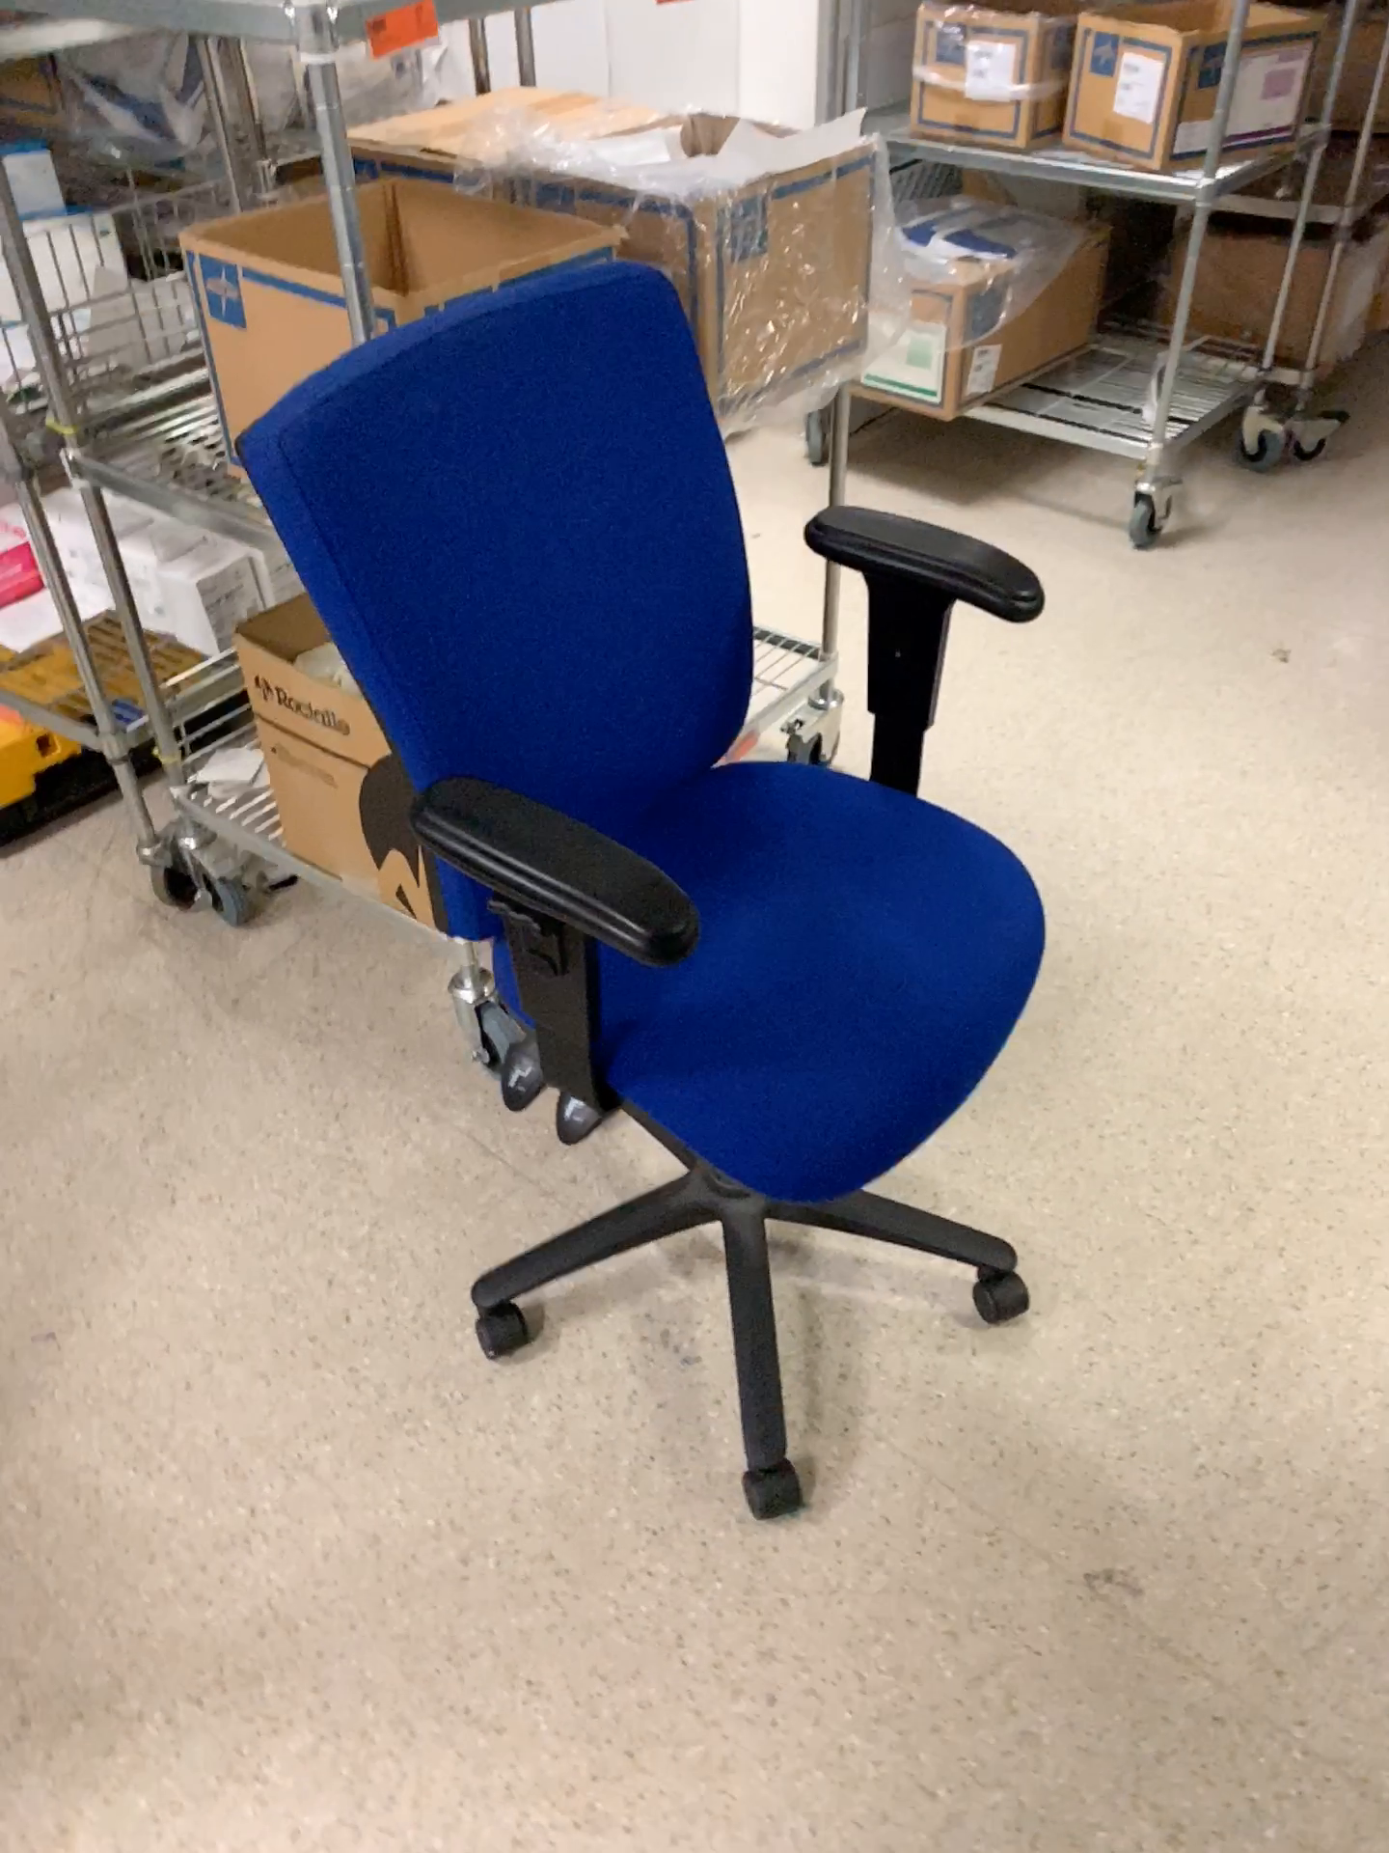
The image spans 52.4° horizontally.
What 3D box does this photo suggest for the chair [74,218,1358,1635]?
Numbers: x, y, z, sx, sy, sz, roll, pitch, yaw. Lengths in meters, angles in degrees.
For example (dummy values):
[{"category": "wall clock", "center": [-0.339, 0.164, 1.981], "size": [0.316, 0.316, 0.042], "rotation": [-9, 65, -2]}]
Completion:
[{"category": "chair", "center": [0.043, -0.033, 1.337], "size": [0.668, 0.950, 0.682], "rotation": [26, 47, 29]}]
